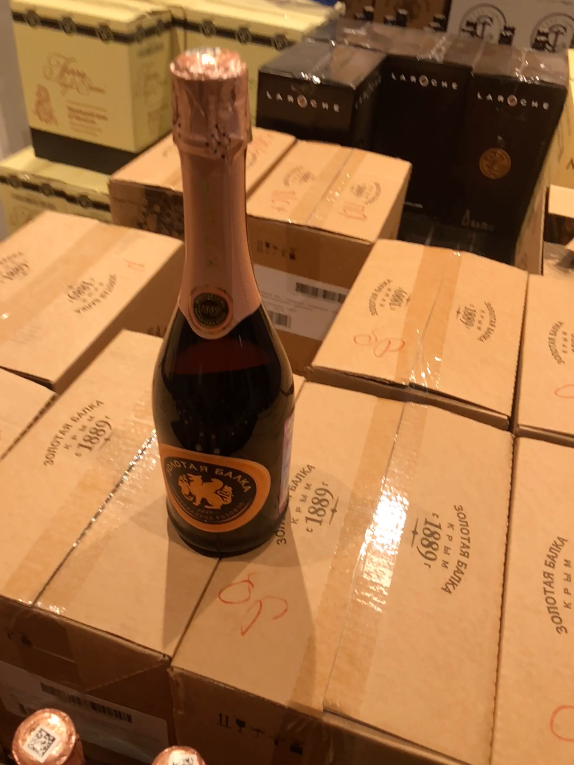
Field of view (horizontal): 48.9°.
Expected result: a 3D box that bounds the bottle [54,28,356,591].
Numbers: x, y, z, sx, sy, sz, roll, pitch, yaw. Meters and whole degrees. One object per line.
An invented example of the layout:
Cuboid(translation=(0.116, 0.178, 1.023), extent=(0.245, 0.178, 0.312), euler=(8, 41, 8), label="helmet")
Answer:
Cuboid(translation=(-0.037, -0.017, 0.364), extent=(0.100, 0.308, 0.091), euler=(12, 41, 9), label="bottle")
